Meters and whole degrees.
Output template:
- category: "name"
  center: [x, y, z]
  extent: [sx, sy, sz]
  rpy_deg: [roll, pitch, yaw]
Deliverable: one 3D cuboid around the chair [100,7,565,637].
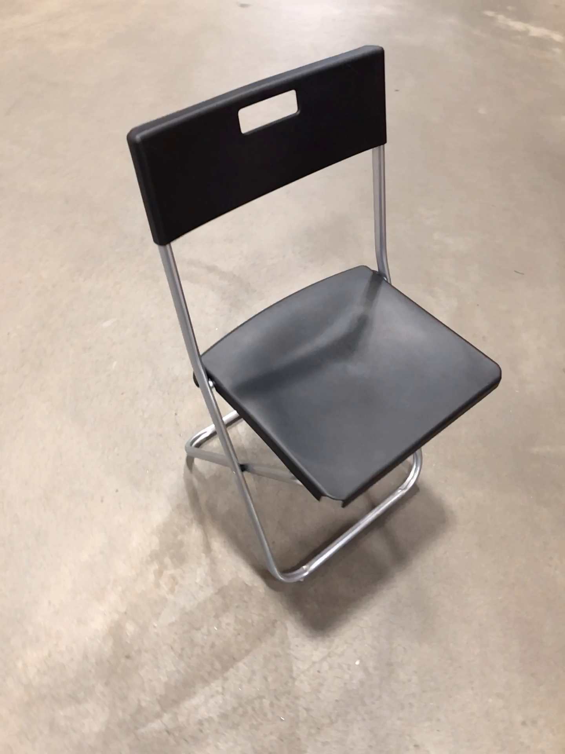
- category: "chair"
  center: [0.091, -0.031, 0.972]
  extent: [0.461, 0.758, 0.461]
  rpy_deg: [-31, 63, -26]
